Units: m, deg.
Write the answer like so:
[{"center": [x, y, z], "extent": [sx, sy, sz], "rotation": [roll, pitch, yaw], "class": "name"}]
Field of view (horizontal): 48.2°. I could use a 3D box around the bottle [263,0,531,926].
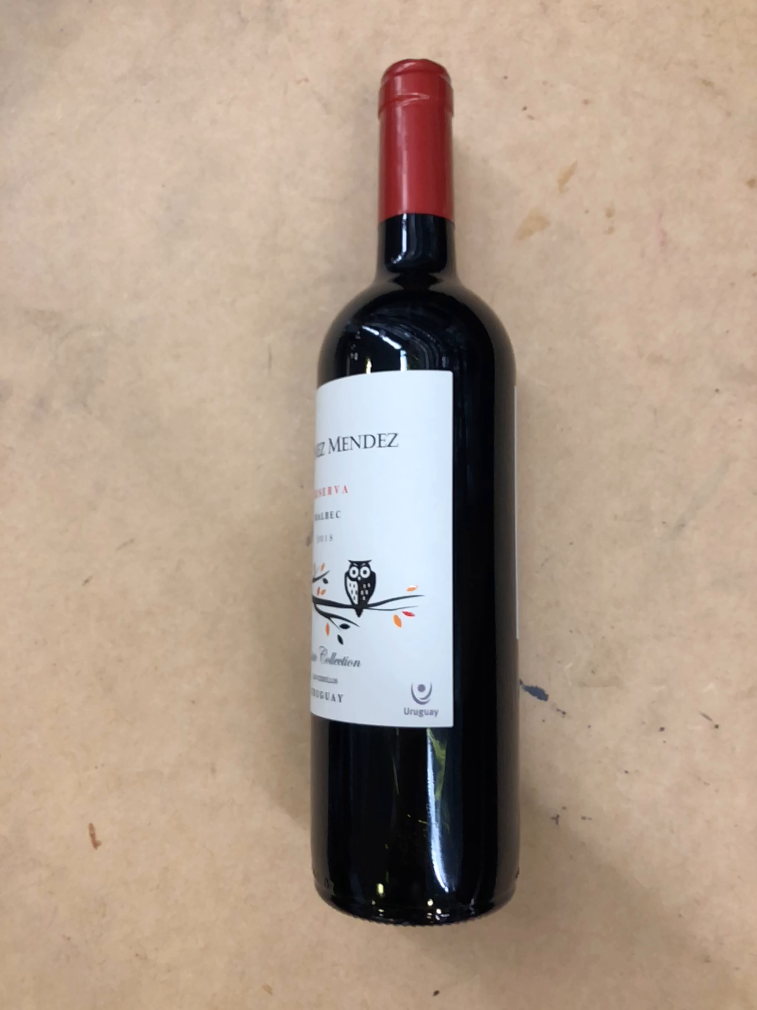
[{"center": [0.007, -0.028, 0.295], "extent": [0.080, 0.060, 0.310], "rotation": [-1, 85, 4], "class": "bottle"}]
